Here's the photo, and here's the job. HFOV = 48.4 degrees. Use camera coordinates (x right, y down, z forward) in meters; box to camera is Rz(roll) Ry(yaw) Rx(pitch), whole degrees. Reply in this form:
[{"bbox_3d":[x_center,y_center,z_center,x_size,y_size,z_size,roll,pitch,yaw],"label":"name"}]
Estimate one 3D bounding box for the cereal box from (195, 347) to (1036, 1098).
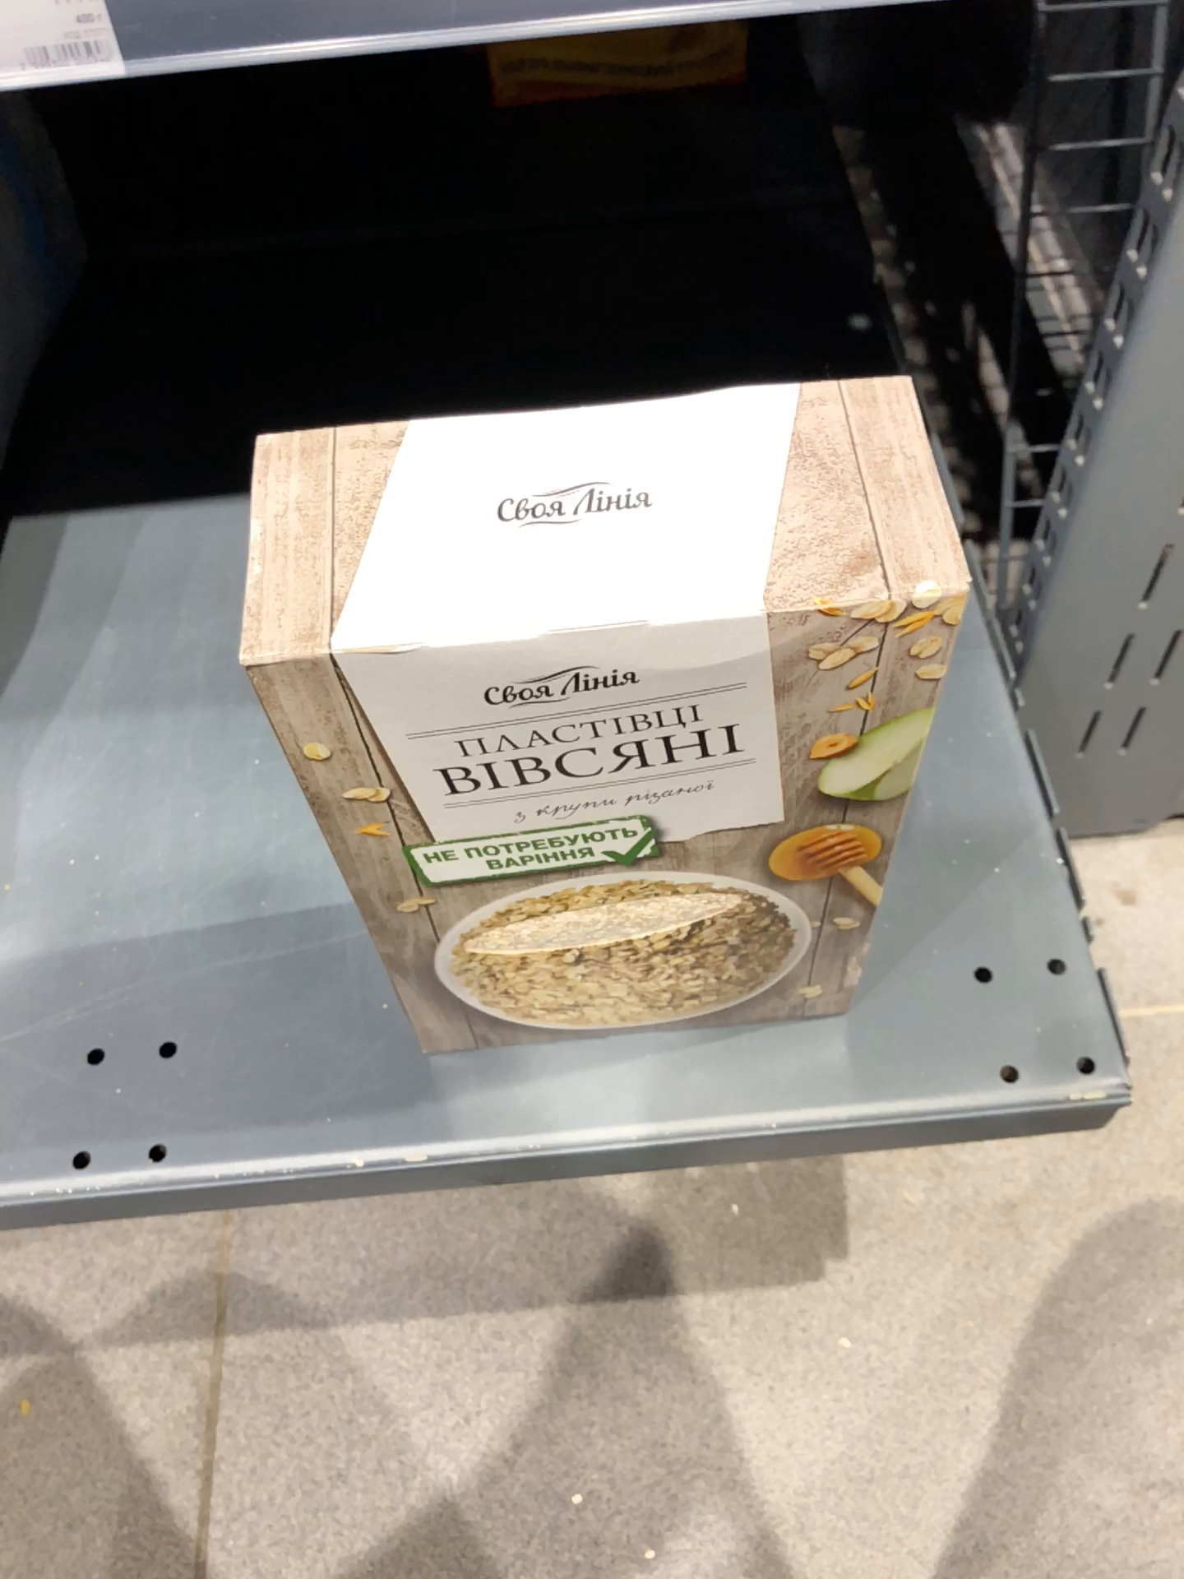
[{"bbox_3d":[0.007,0.005,0.350,0.150,0.229,0.070,-5,59,0],"label":"cereal box"}]
